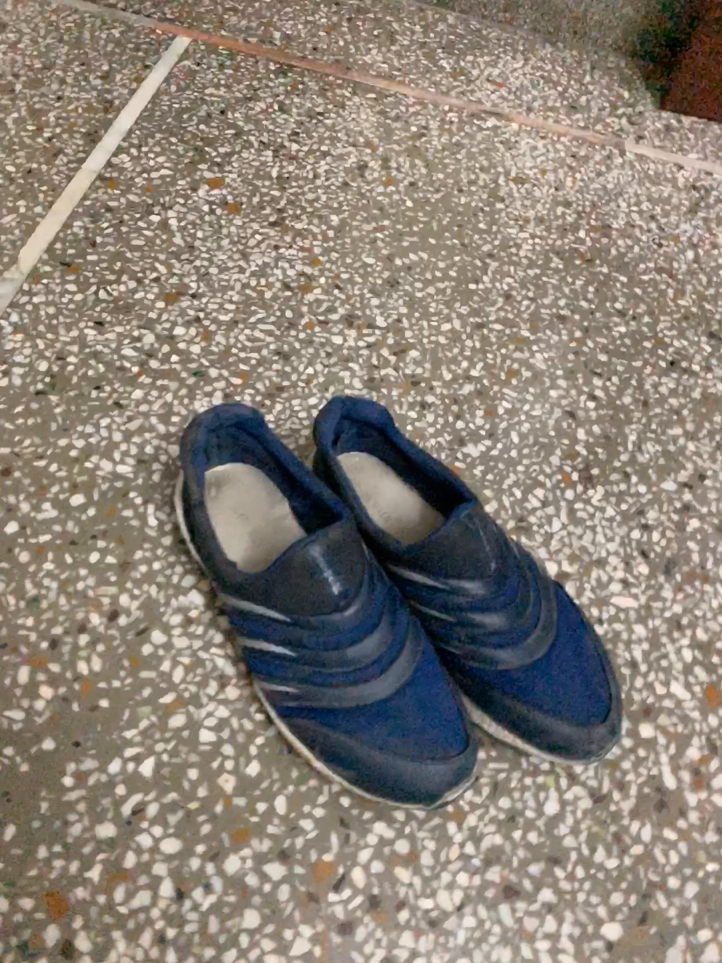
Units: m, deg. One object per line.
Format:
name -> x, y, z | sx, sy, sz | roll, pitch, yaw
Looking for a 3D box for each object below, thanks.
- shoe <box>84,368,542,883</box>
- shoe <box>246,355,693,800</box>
shoe -> -0.041, 0.071, 0.440 | 0.103, 0.080, 0.284 | -31, 66, -26
shoe -> 0.054, 0.055, 0.493 | 0.103, 0.096, 0.280 | -37, 69, -28
